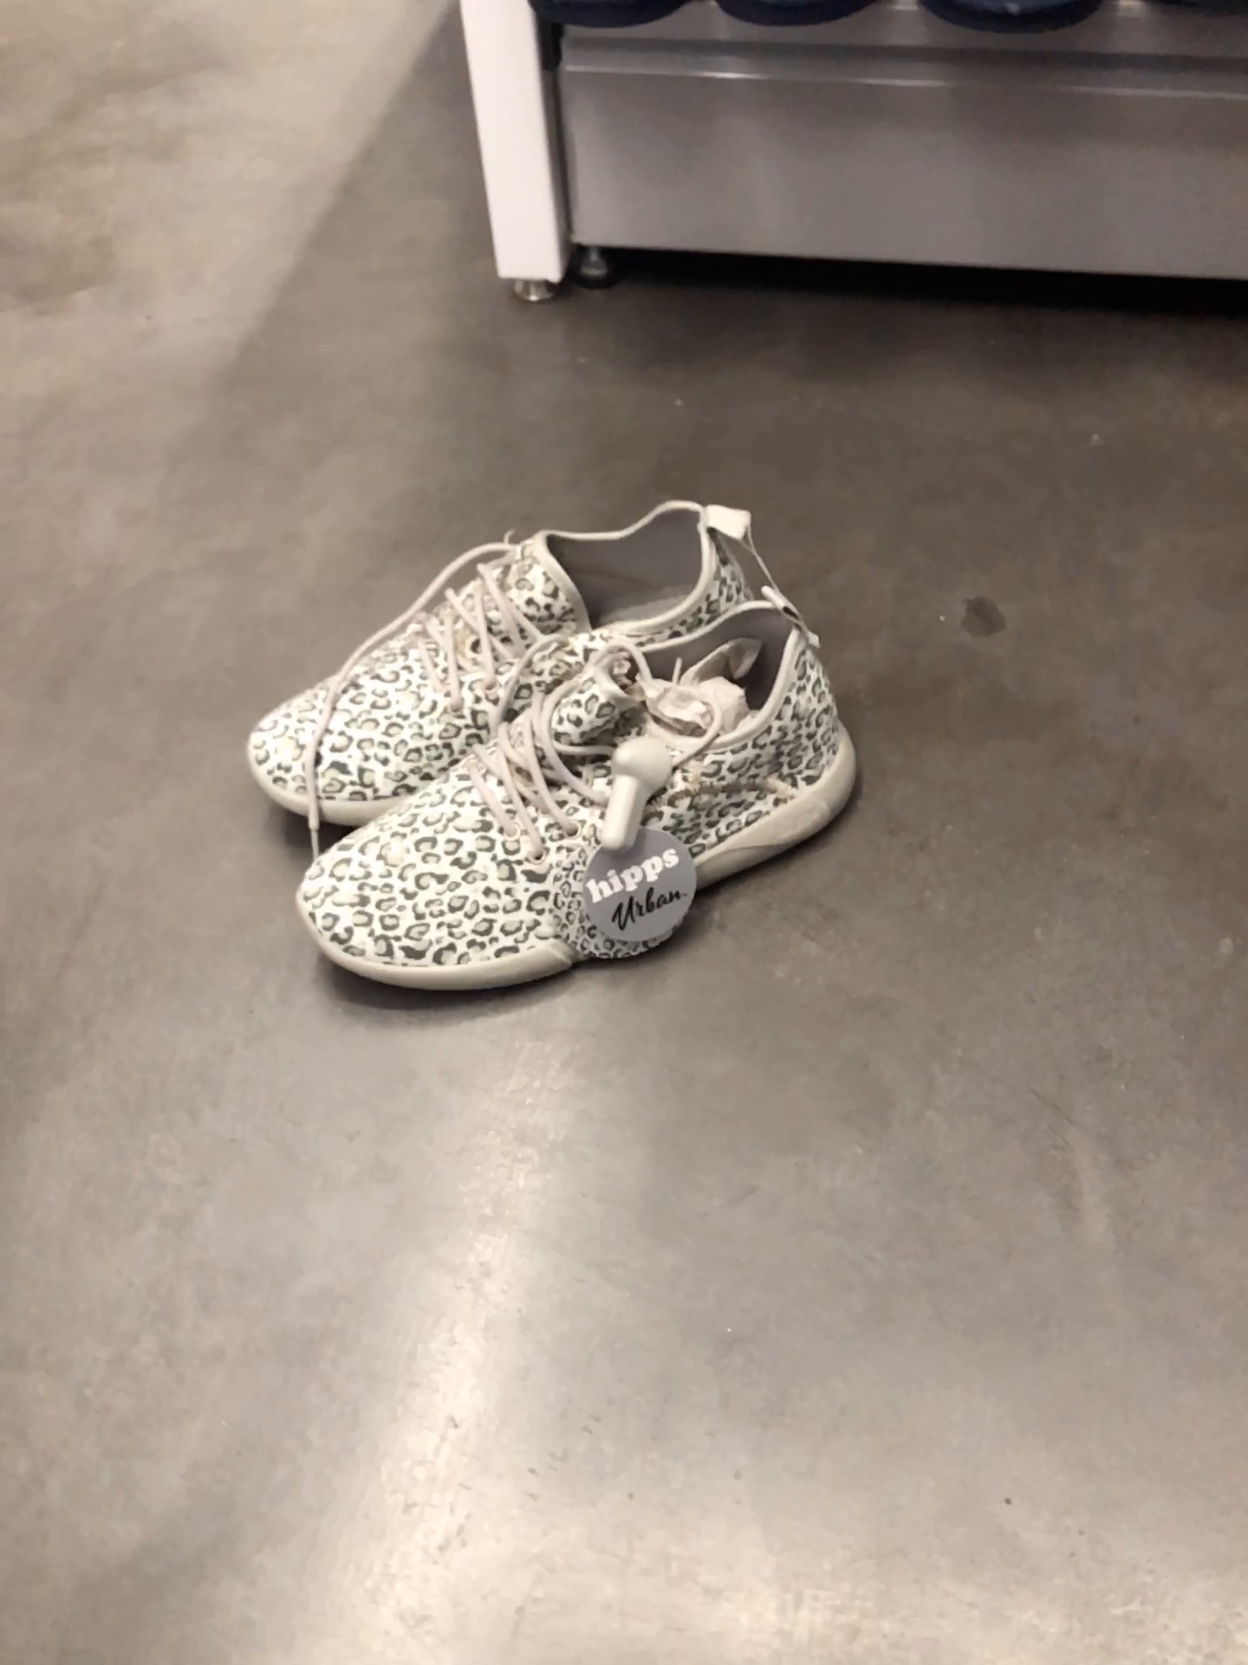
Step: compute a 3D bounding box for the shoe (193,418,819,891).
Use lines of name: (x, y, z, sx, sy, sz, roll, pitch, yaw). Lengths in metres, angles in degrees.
shoe: (-0.048, -0.085, 0.629, 0.250, 0.100, 0.100, -21, 53, -13)

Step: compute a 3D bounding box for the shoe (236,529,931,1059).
shoe: (-0.013, -0.019, 0.571, 0.250, 0.100, 0.100, -21, 53, -13)
